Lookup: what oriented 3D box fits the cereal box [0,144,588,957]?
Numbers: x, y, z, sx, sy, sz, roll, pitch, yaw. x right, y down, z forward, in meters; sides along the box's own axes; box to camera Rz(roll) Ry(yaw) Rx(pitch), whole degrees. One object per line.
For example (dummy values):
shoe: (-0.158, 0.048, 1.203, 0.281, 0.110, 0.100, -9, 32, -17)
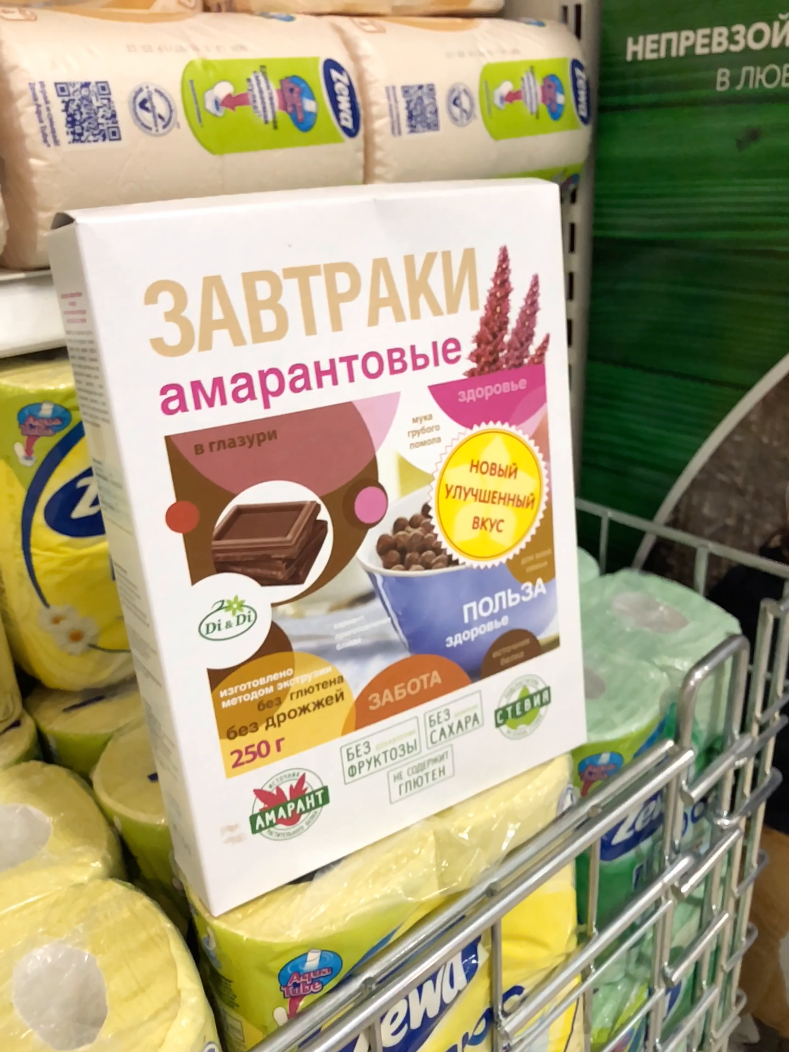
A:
cereal box: (-0.020, 0.001, 0.349, 0.191, 0.269, 0.050, -16, 18, -28)
